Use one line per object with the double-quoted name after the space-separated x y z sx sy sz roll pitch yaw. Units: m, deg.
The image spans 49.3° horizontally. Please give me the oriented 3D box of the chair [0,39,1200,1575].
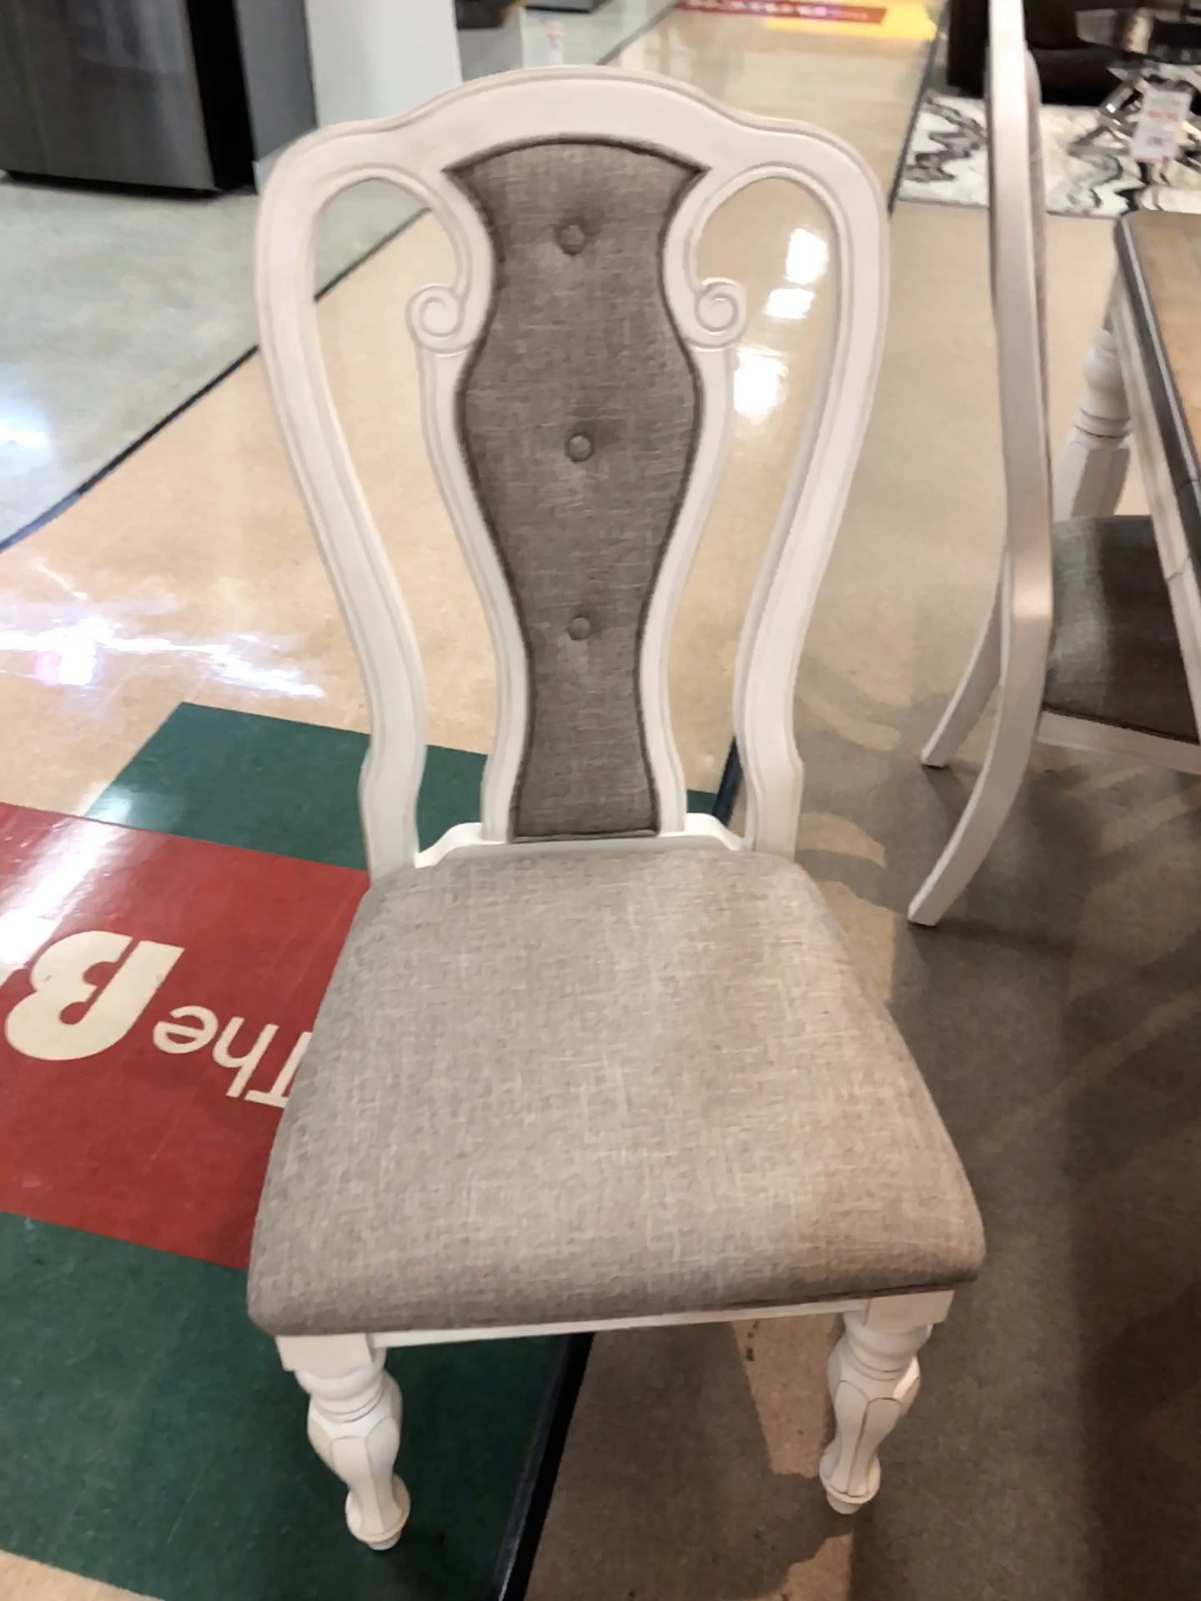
0.025 0.034 1.051 0.550 1.013 0.674 -1 39 -4 "chair"
